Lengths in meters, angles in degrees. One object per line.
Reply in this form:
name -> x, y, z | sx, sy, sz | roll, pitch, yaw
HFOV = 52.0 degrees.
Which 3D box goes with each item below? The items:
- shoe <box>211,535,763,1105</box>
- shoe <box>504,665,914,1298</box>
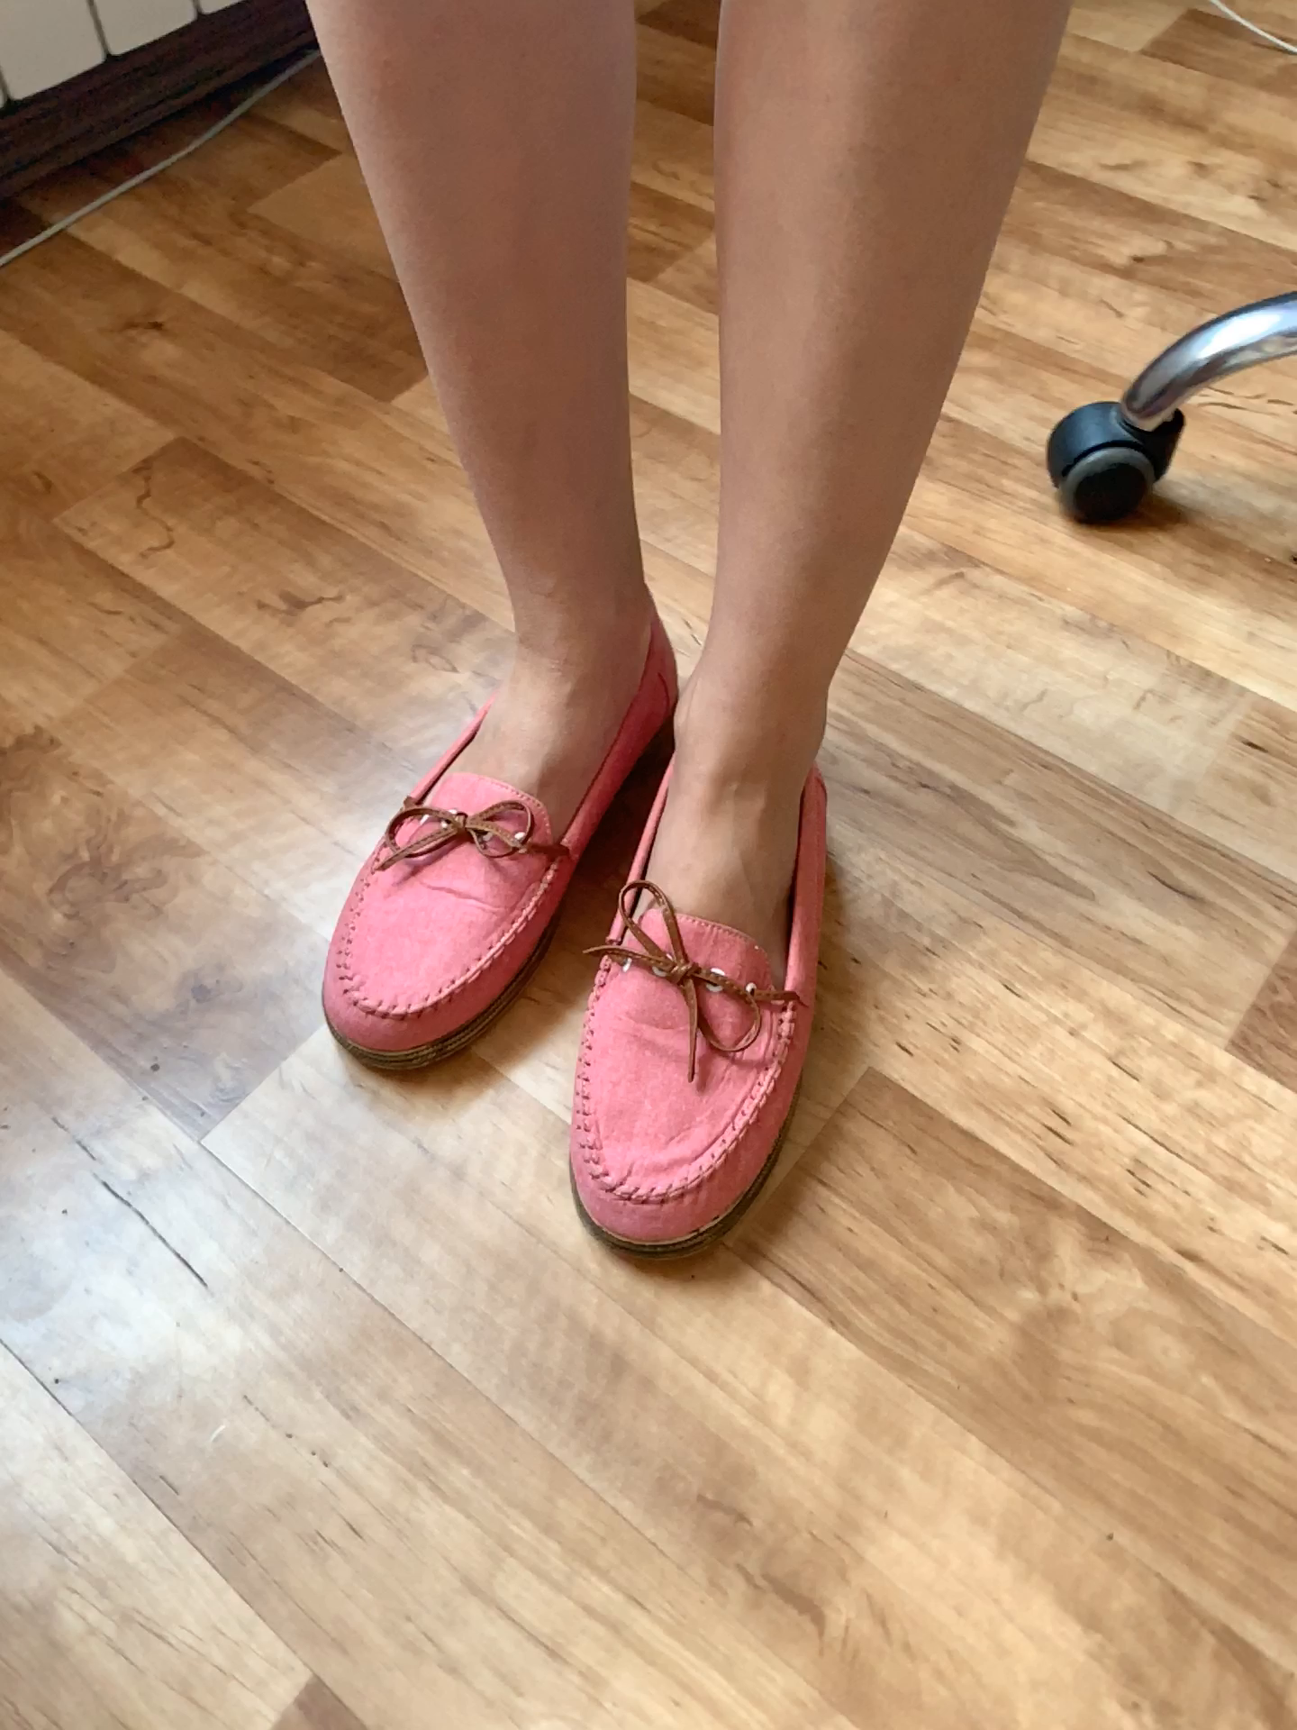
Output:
shoe -> -0.059, -0.032, 0.592 | 0.100, 0.060, 0.260 | 27, 59, 19
shoe -> 0.034, 0.035, 0.548 | 0.090, 0.060, 0.251 | 15, 56, 12
